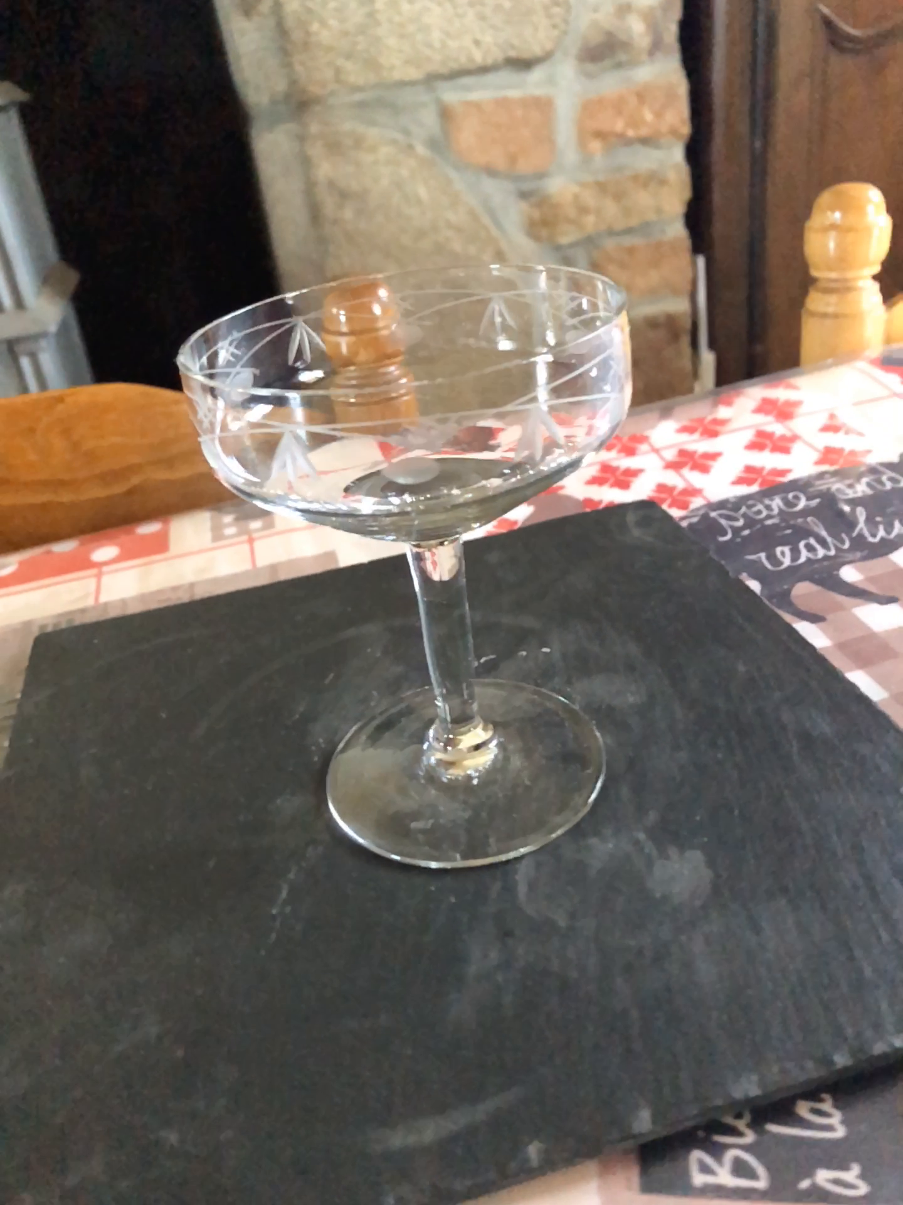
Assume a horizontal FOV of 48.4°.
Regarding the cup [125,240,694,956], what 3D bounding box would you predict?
[{"bbox_3d":[-0.008,-0.009,0.234,0.090,0.119,0.090,-6,29,3],"label":"cup"}]
